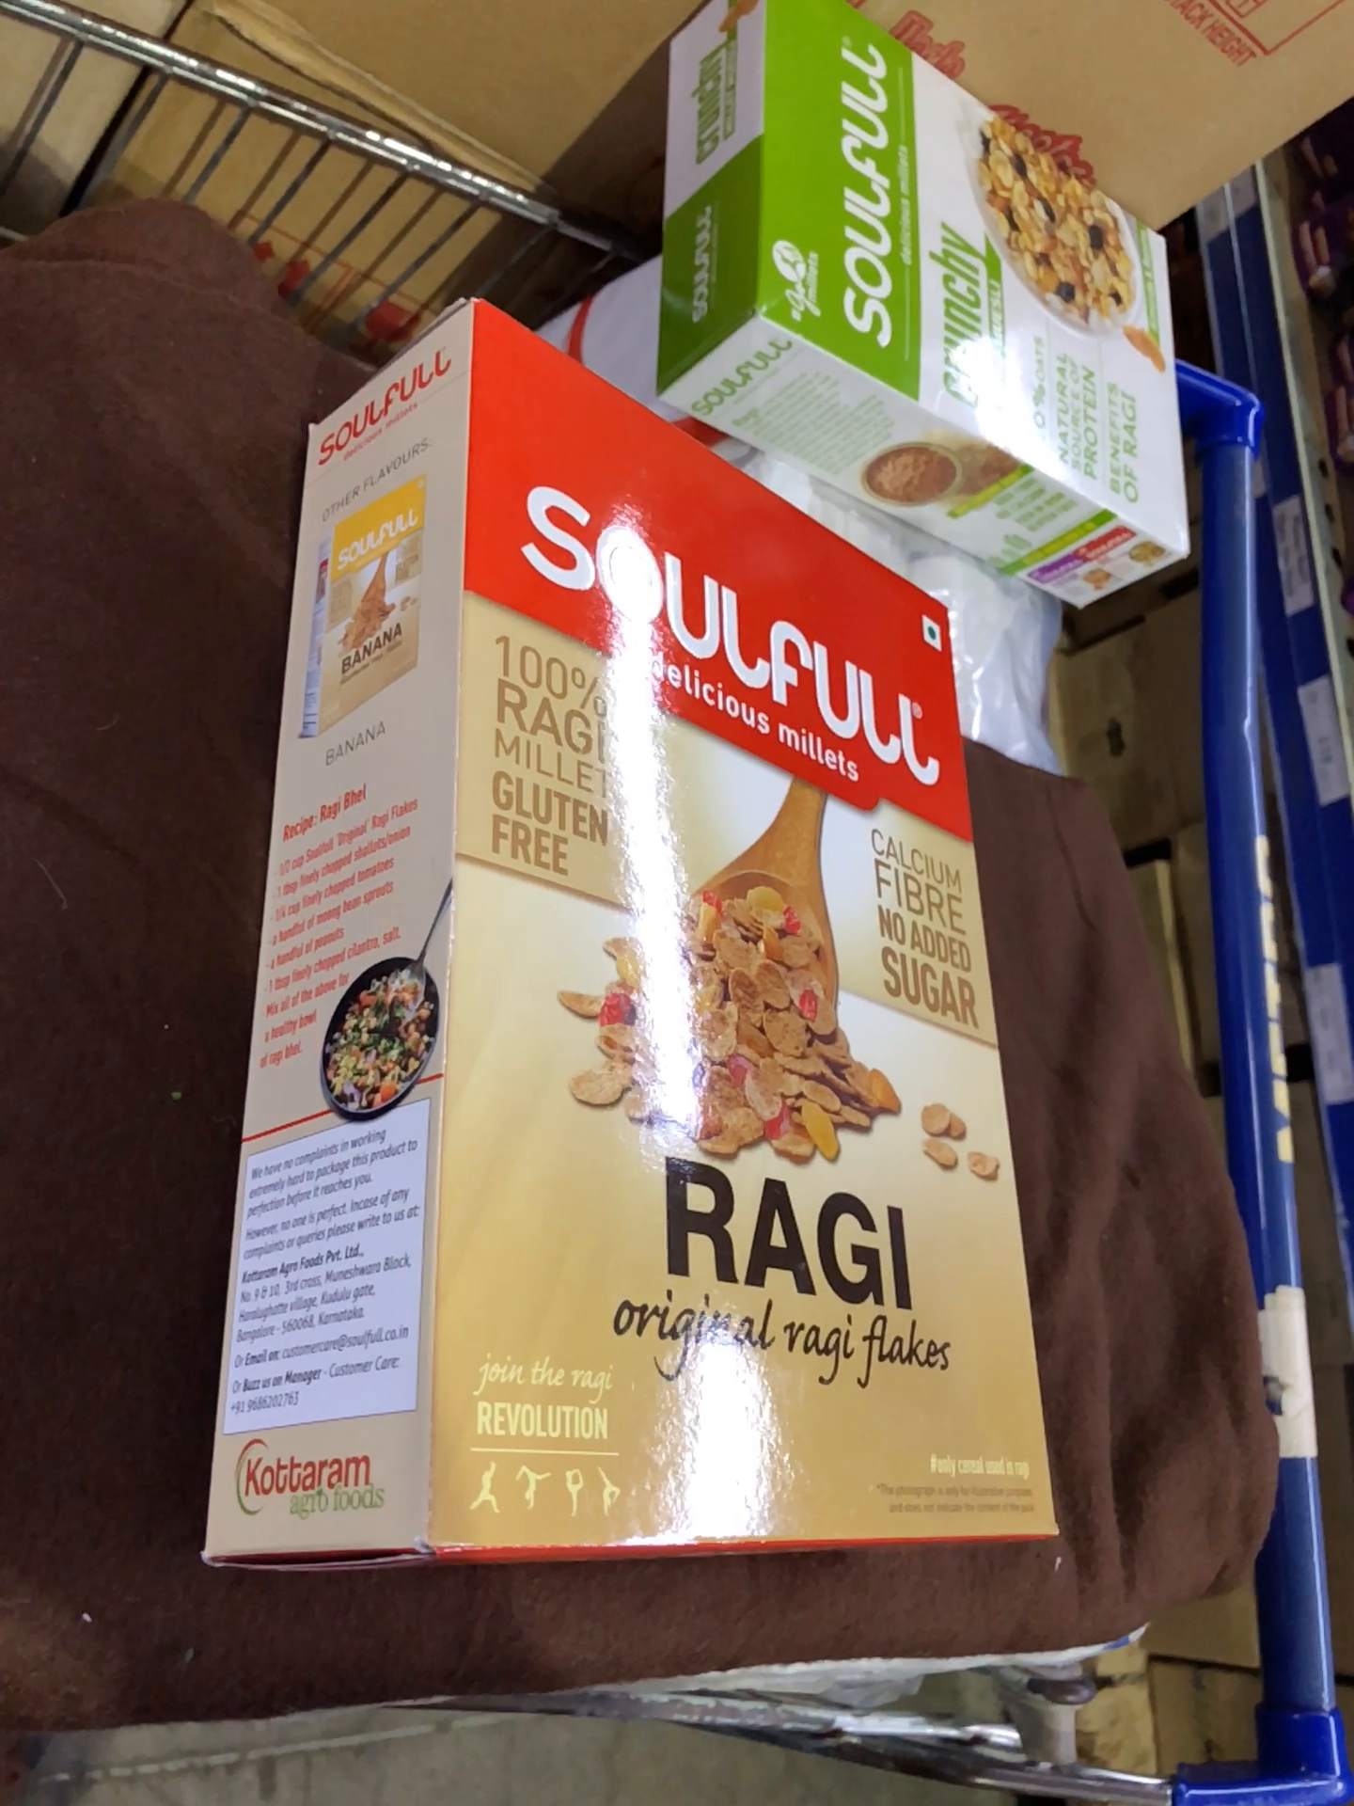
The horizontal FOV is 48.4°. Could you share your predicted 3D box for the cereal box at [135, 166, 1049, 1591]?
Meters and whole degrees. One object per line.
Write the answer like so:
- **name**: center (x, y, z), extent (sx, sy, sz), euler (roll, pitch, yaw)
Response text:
- **cereal box**: center (-0.006, 0.003, 0.307), extent (0.170, 0.050, 0.240), euler (20, 59, -42)
